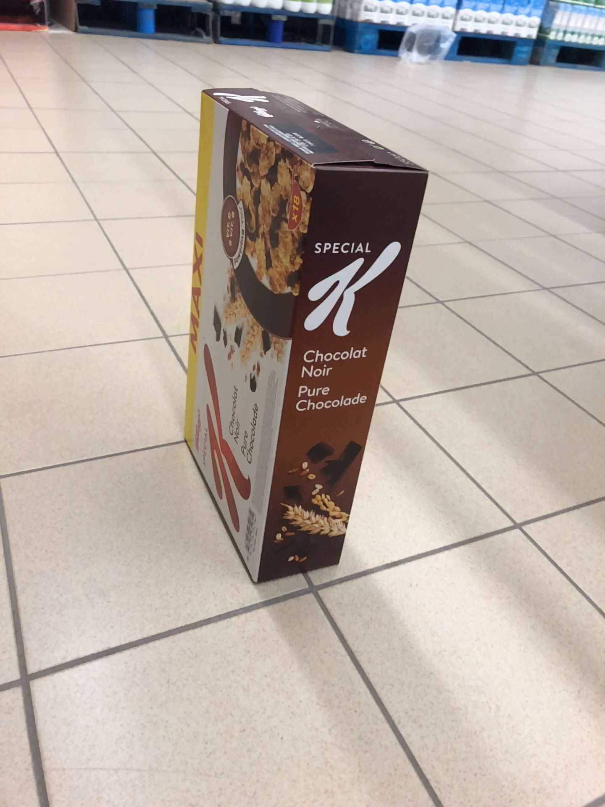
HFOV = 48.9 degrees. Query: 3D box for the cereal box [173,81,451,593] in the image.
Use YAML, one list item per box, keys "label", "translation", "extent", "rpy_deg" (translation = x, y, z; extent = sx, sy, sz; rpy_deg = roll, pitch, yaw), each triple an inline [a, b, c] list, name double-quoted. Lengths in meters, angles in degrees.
- label: "cereal box"
  translation: [-0.022, -0.052, 0.488]
  extent: [0.070, 0.298, 0.211]
  rpy_deg: [-8, 35, -27]
